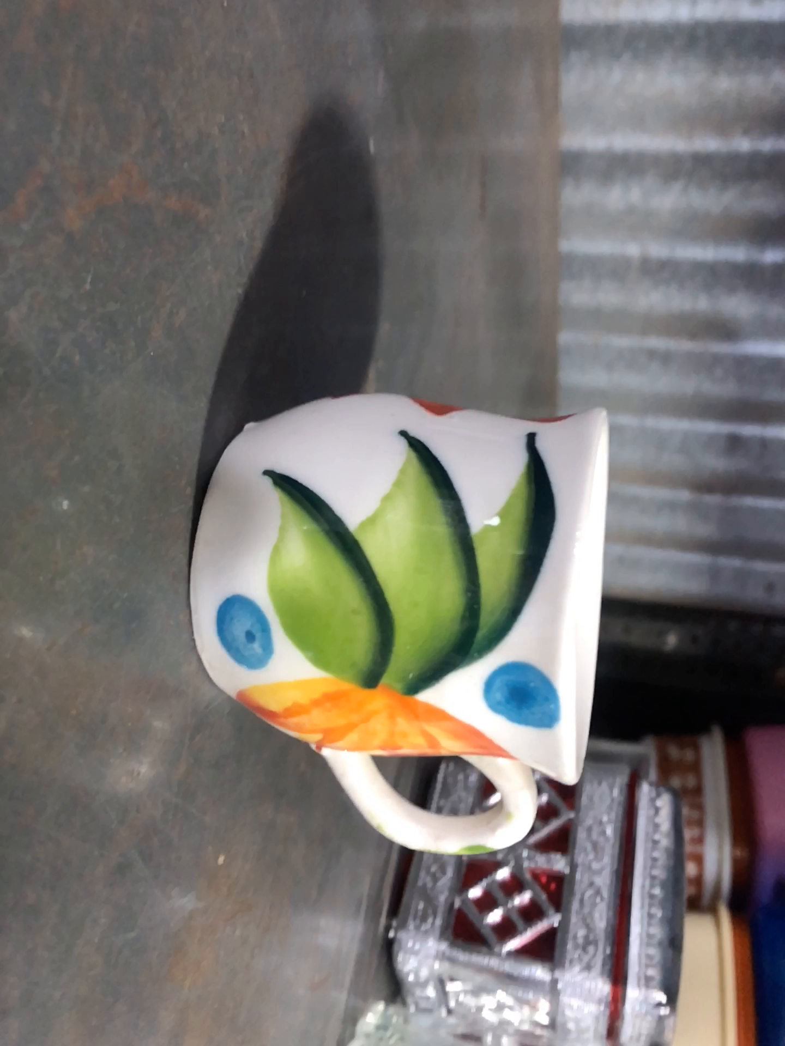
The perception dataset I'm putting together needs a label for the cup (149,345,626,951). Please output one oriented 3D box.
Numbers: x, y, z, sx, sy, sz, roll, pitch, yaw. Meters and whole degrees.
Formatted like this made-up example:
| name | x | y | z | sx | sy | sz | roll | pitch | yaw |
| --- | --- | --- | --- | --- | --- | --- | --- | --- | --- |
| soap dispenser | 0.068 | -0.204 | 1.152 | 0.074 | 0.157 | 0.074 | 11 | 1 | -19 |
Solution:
| name | x | y | z | sx | sy | sz | roll | pitch | yaw |
| --- | --- | --- | --- | --- | --- | --- | --- | --- | --- |
| cup | 0.006 | 0.017 | 0.177 | 0.070 | 0.070 | 0.090 | -54 | 147 | -64 |
